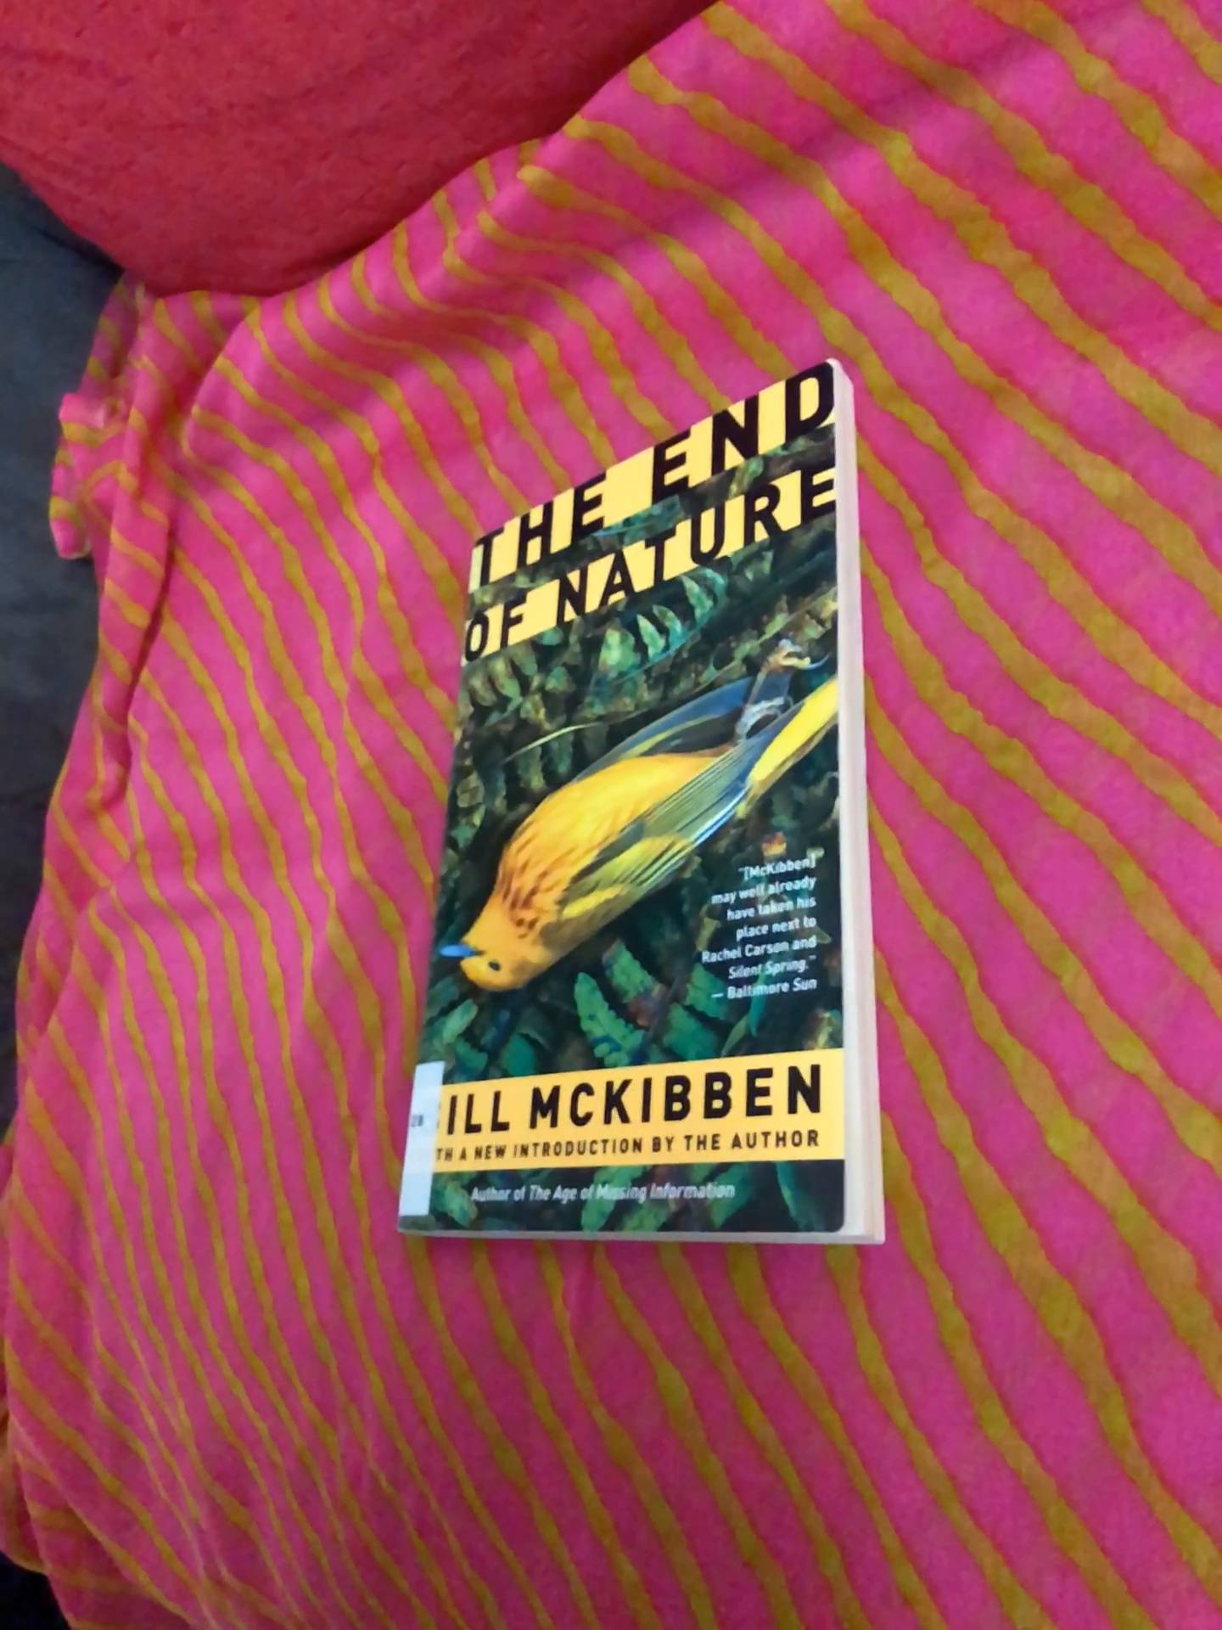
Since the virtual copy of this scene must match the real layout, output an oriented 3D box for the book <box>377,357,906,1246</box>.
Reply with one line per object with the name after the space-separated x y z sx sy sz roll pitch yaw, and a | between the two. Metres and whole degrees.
0.004 0.001 0.328 0.132 0.020 0.194 -13 66 38 | book
